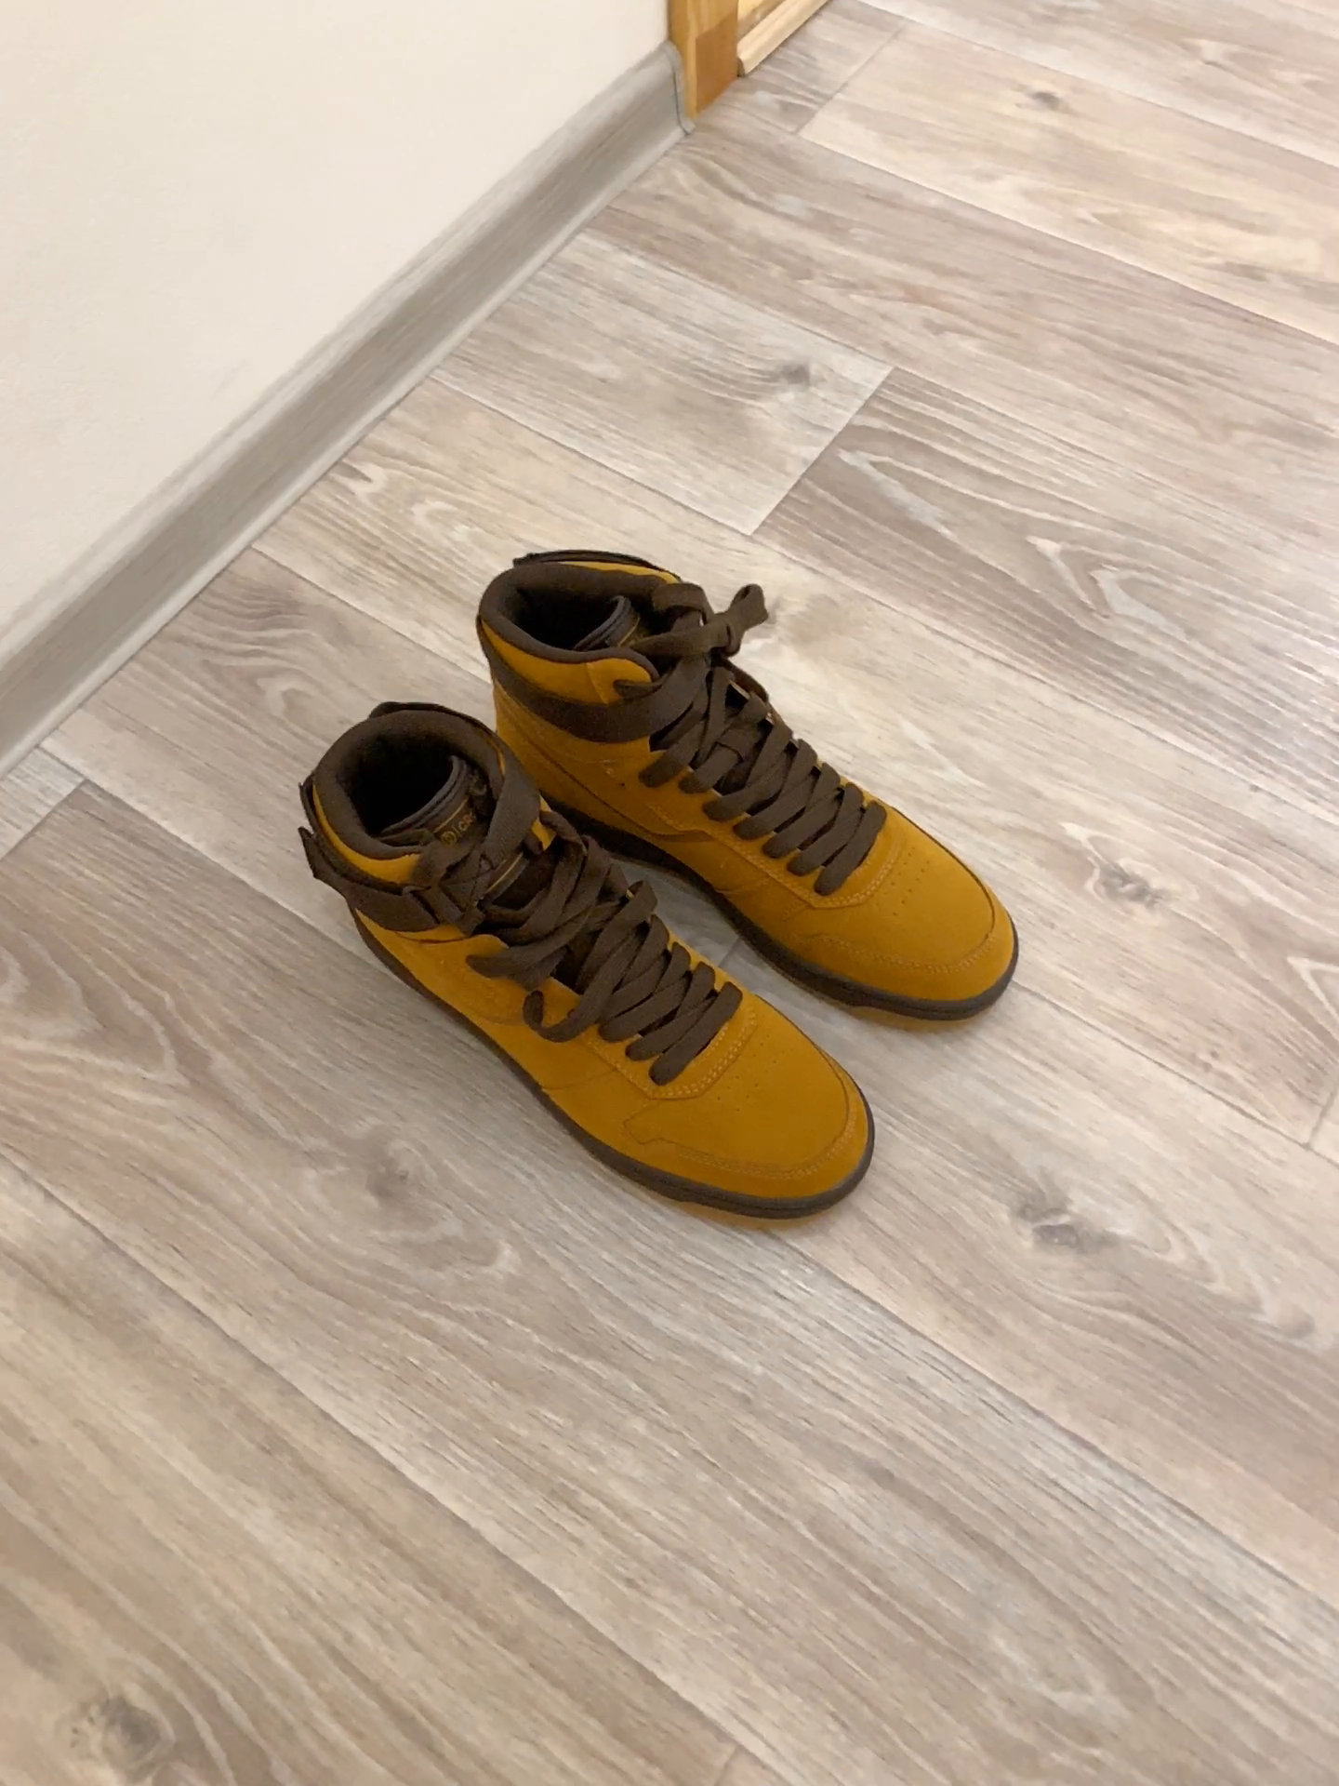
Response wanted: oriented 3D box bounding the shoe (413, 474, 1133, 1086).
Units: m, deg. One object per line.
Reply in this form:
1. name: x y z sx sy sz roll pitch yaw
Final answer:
1. shoe: 0.038 -0.051 0.617 0.280 0.140 0.101 30 66 17

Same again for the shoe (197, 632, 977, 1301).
1. shoe: -0.034 0.031 0.564 0.280 0.140 0.101 30 66 17
